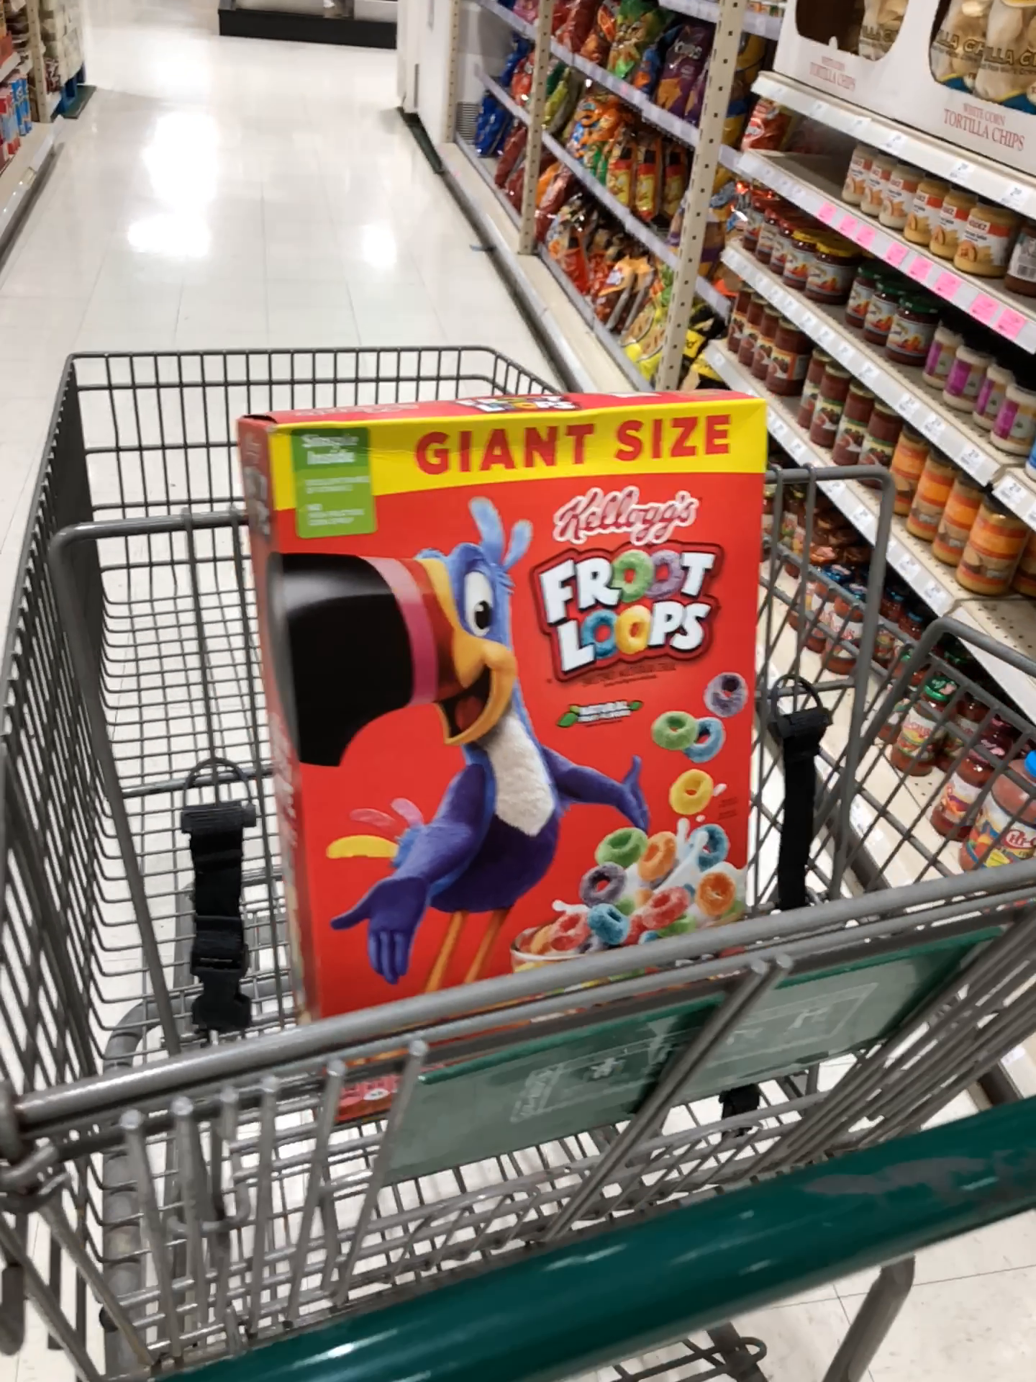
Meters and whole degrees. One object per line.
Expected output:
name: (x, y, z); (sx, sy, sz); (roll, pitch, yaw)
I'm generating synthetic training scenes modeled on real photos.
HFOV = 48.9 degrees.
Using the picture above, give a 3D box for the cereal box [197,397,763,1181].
cereal box: (-0.014, 0.039, 0.604); (0.260, 0.369, 0.090); (-7, 17, -21)
